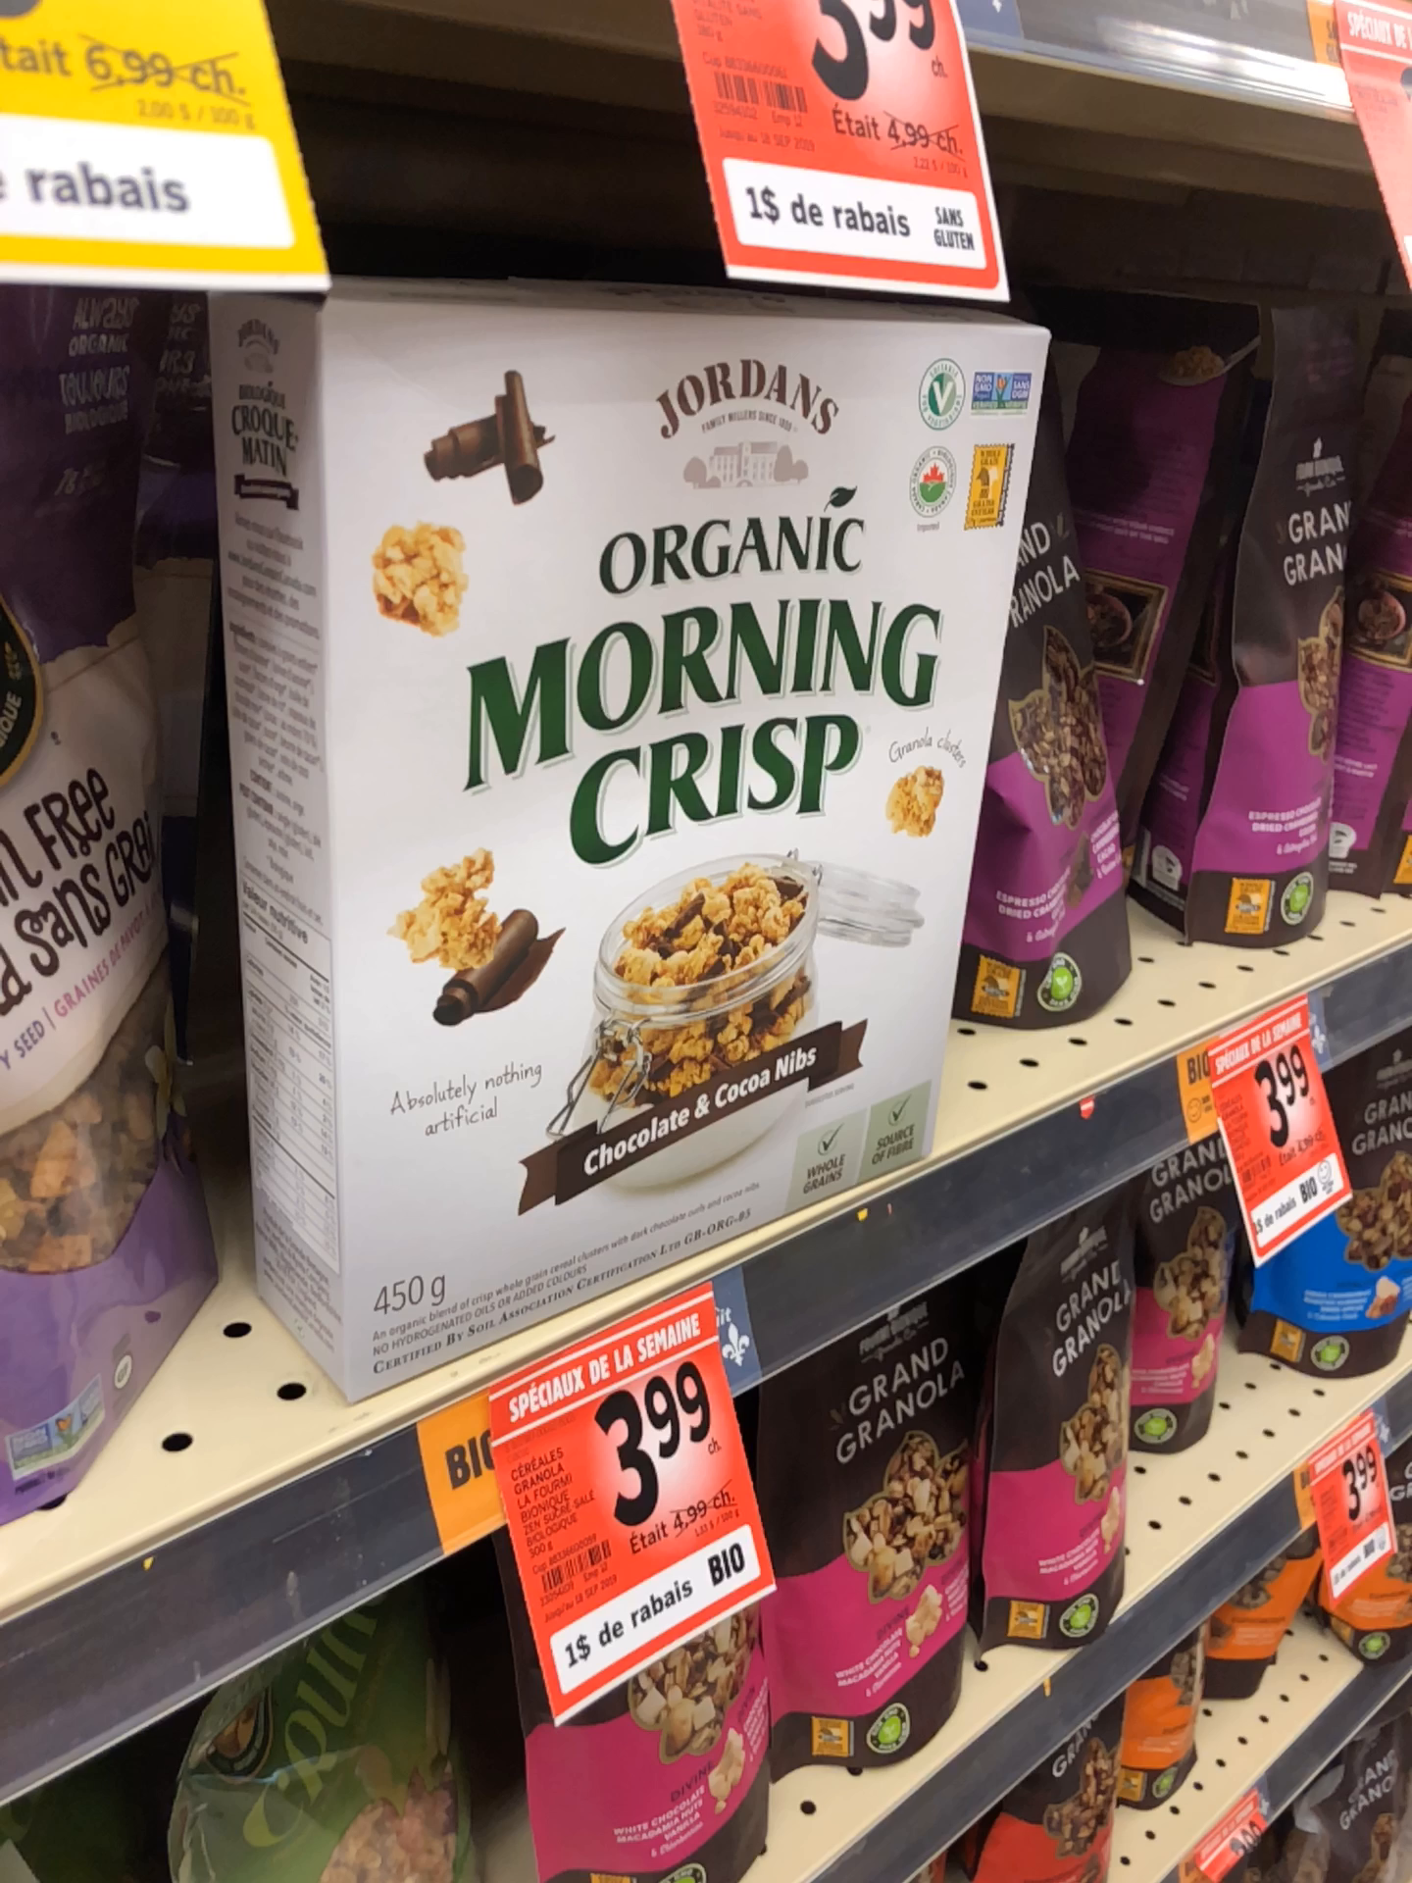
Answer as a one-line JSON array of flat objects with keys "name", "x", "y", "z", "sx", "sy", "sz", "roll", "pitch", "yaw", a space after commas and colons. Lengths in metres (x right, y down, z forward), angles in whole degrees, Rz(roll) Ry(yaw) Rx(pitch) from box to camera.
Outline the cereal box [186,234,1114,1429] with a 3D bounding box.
[{"name": "cereal box", "x": -0.006, "y": -0.030, "z": 0.332, "sx": 0.181, "sy": 0.209, "sz": 0.050, "roll": -15, "pitch": 30, "yaw": -37}]
